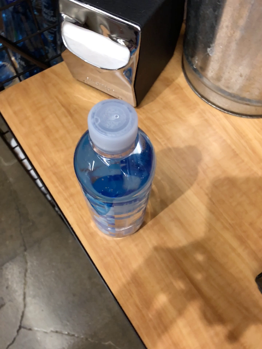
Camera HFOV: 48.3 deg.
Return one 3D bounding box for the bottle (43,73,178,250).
[{"bbox_3d":[-0.012,0.011,0.264,0.070,0.200,0.070,1,66,-1],"label":"bottle"}]
